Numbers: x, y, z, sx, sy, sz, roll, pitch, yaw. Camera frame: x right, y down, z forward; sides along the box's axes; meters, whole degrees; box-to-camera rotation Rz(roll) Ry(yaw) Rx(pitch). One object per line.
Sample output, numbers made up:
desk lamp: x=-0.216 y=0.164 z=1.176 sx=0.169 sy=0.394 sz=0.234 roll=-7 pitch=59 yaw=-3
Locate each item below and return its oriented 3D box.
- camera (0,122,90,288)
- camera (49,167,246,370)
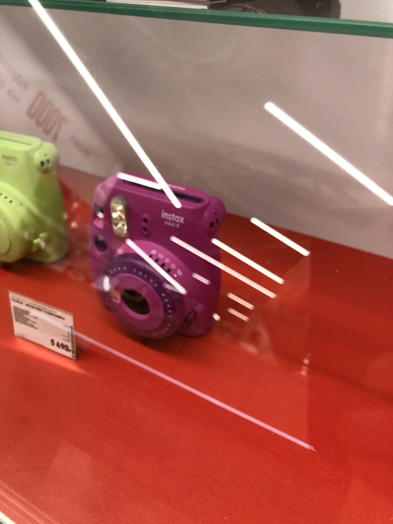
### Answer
camera: x=-0.190 y=-0.060 z=0.439 sx=0.135 sy=0.118 sz=0.073 roll=16 pitch=36 yaw=20
camera: x=-0.035 y=0.000 z=0.338 sx=0.117 sy=0.103 sz=0.073 roll=19 pitch=37 yaw=24
